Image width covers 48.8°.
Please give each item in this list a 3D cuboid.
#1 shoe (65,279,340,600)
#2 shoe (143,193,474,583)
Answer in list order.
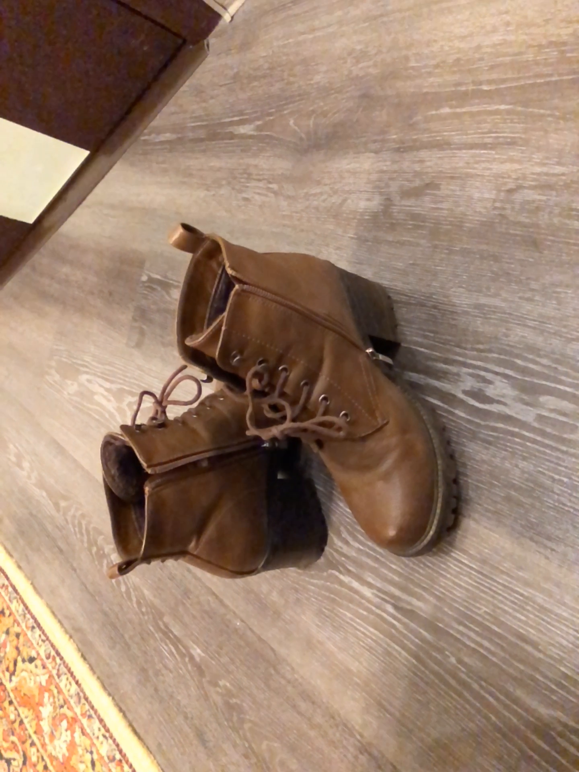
[{"bbox_3d":[-0.078,0.048,0.536,0.100,0.169,0.221,-36,57,39],"label":"shoe"},{"bbox_3d":[0.011,0.011,0.447,0.090,0.189,0.220,-29,62,43],"label":"shoe"}]
